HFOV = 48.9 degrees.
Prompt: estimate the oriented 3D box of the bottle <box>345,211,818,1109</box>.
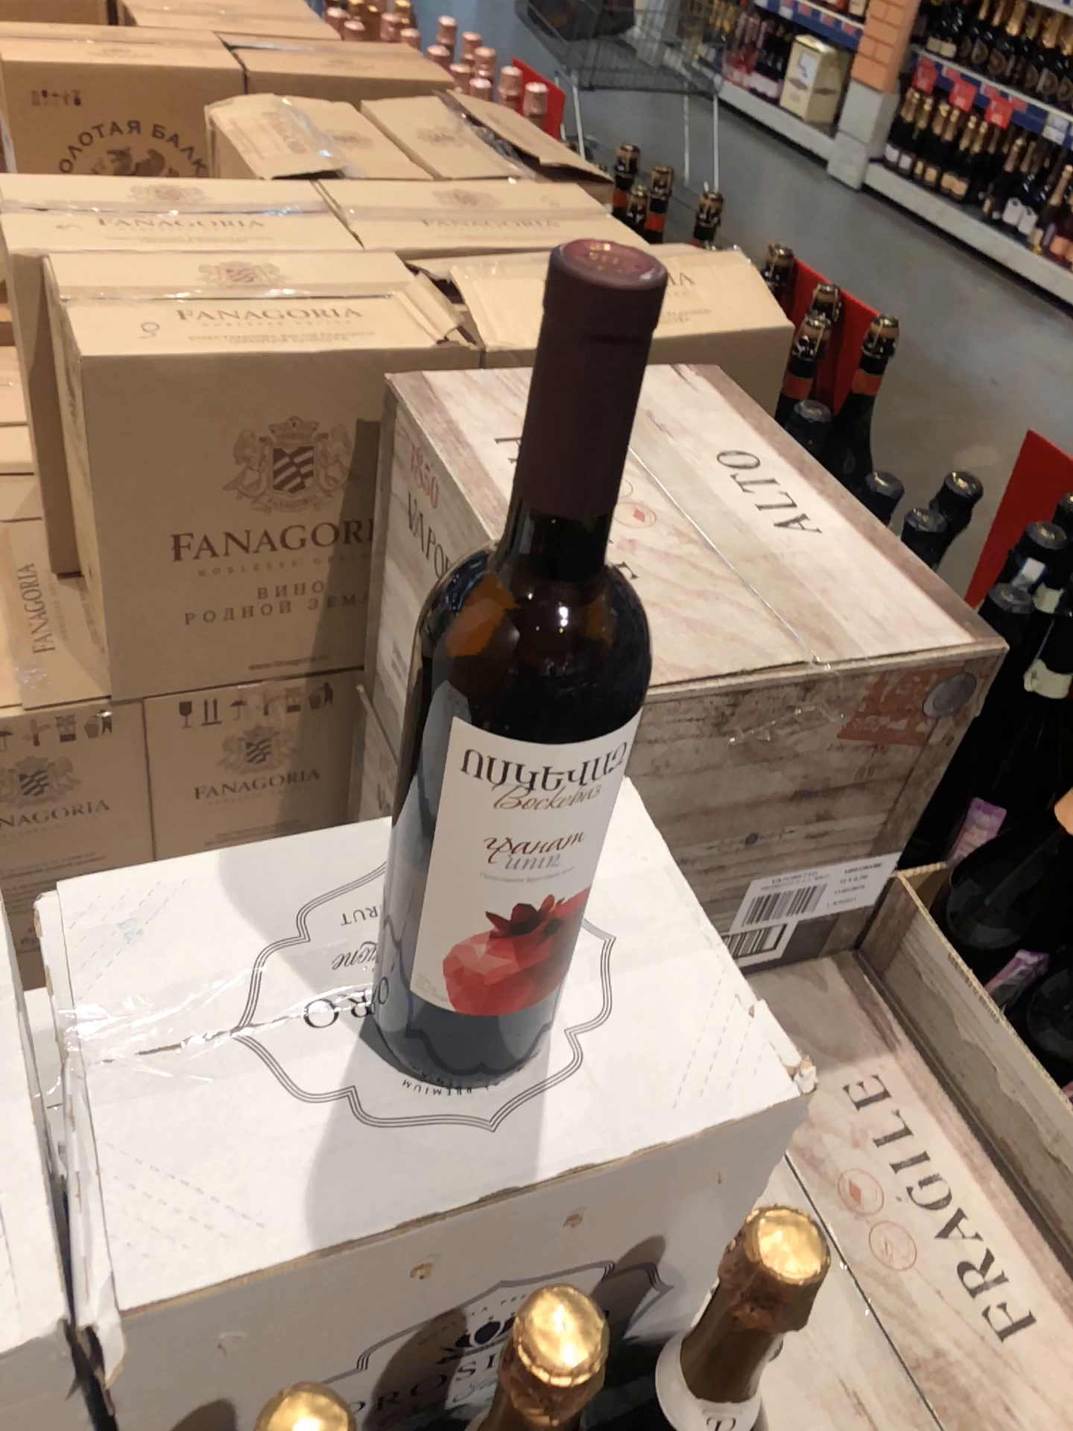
[{"bbox_3d":[-0.008,0.005,0.387,0.090,0.298,0.080,-2,41,-15],"label":"bottle"}]
